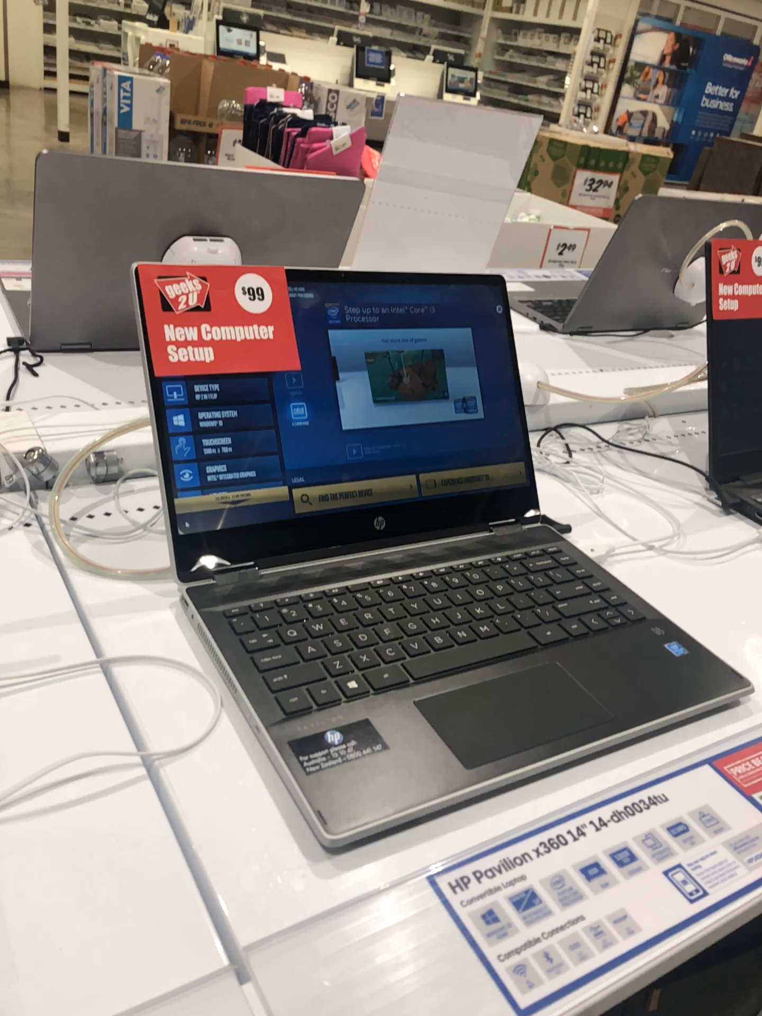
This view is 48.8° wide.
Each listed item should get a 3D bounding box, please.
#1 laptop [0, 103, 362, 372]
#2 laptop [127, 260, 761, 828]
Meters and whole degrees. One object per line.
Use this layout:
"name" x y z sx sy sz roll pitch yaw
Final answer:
"laptop" -0.256 -0.317 0.969 0.306 0.199 0.358 -8 32 -31
"laptop" 0.041 -0.025 0.558 0.316 0.169 0.340 -8 34 -32
